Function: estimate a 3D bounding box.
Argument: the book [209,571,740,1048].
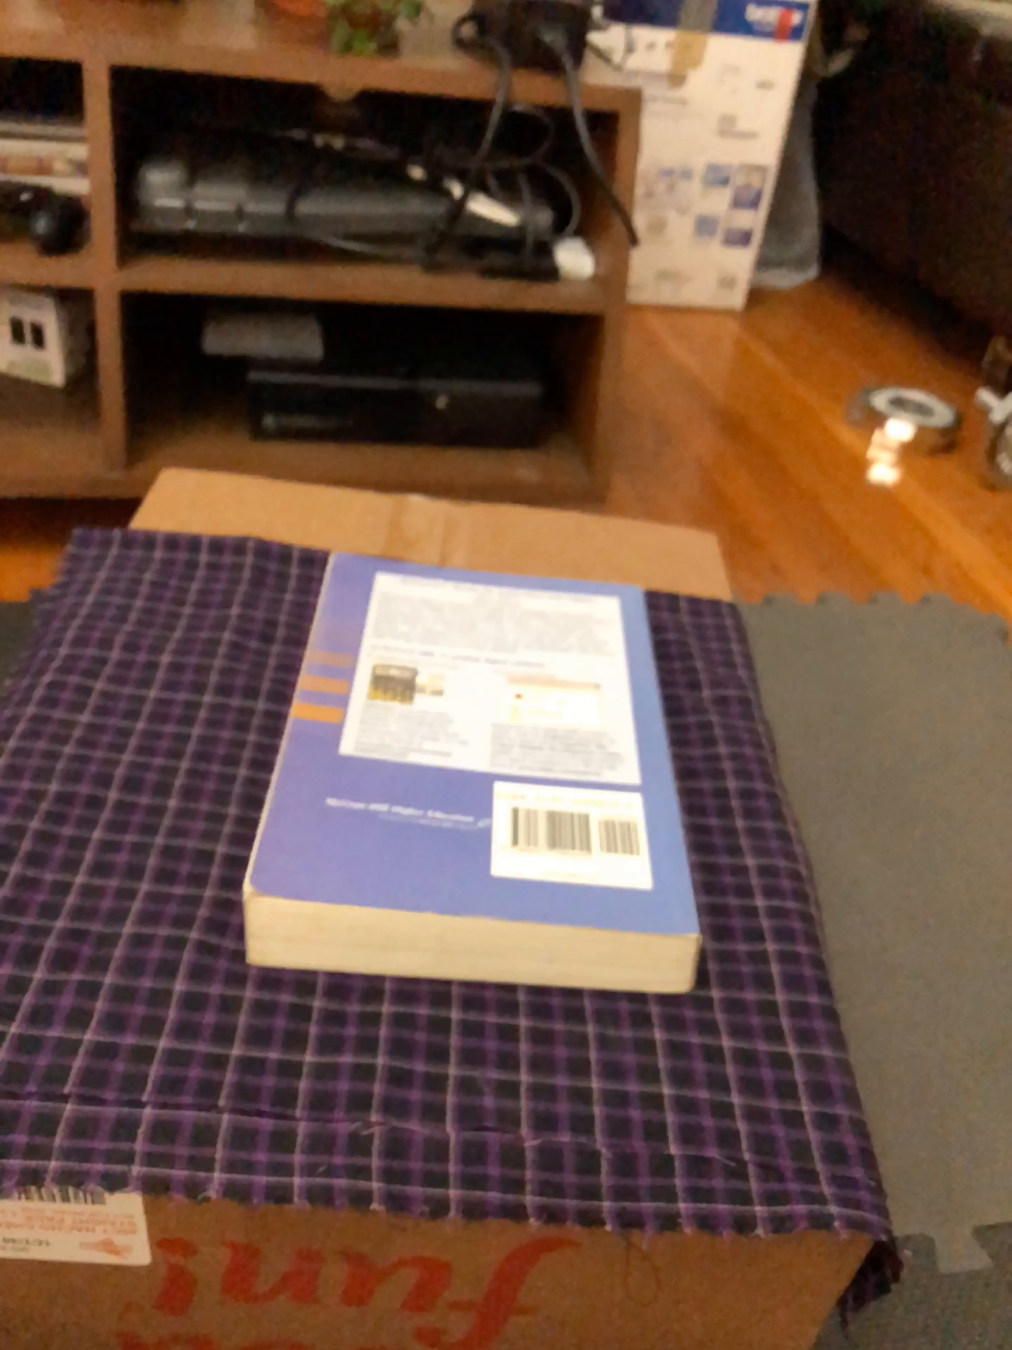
[{"bbox_3d":[-0.013,0.042,0.491,0.180,0.040,0.241,5,36,-5],"label":"book"}]
